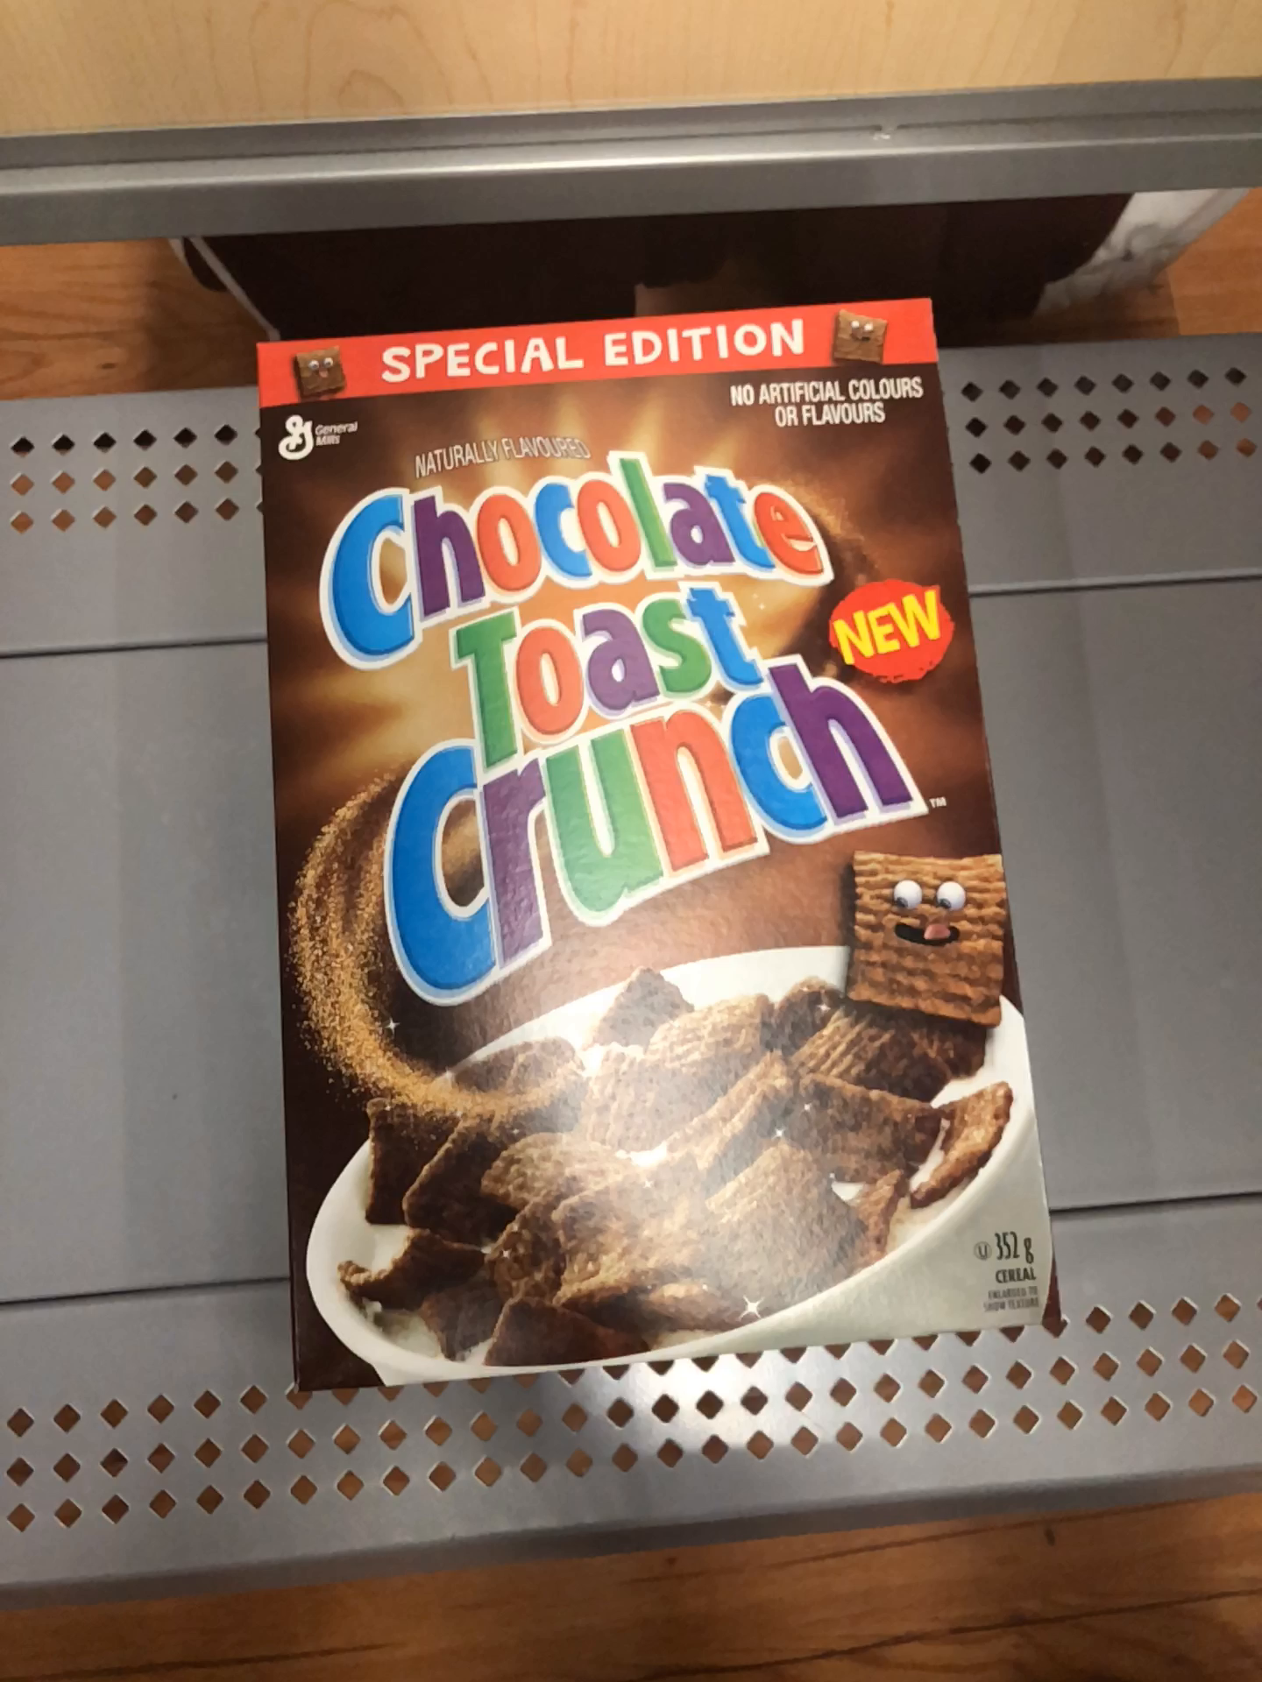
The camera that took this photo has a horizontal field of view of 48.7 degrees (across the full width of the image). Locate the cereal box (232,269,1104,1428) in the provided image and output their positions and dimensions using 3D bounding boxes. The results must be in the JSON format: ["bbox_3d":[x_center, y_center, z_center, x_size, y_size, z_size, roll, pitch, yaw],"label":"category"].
[{"bbox_3d":[0.000,-0.003,0.402,0.200,0.090,0.290,-4,78,-3],"label":"cereal box"}]
